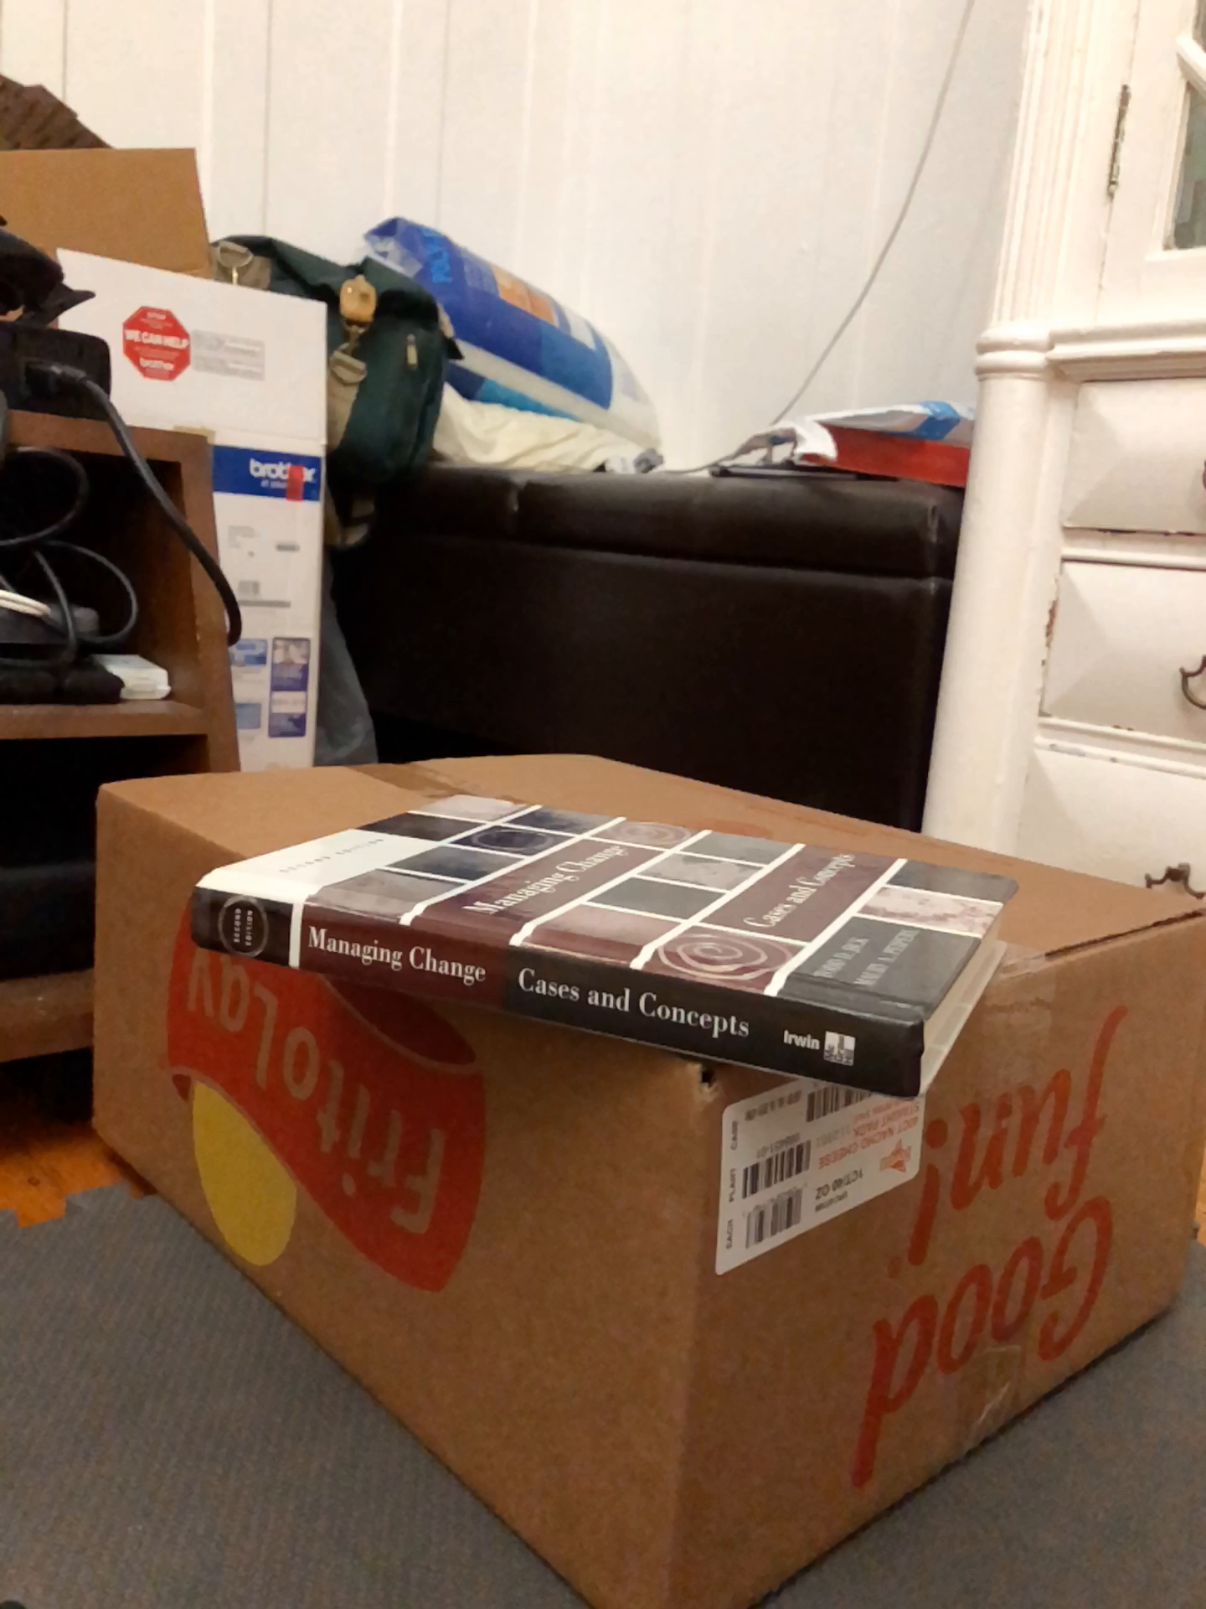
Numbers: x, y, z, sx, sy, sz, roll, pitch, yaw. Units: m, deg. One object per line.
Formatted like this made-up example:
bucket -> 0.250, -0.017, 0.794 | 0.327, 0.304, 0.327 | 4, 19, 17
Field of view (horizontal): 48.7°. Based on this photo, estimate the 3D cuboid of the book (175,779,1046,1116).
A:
book -> 0.013, 0.034, 0.462 | 0.250, 0.030, 0.180 | 9, 11, 23
